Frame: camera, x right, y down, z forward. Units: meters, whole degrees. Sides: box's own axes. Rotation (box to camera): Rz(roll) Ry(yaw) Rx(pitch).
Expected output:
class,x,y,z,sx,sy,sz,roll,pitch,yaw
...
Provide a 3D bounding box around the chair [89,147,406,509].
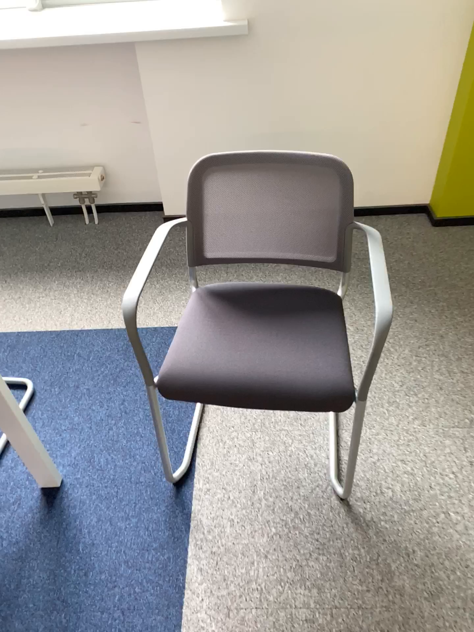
class,x,y,z,sx,sy,sz,roll,pitch,yaw
chair,0.064,0.034,1.229,0.530,0.726,0.523,4,42,9
